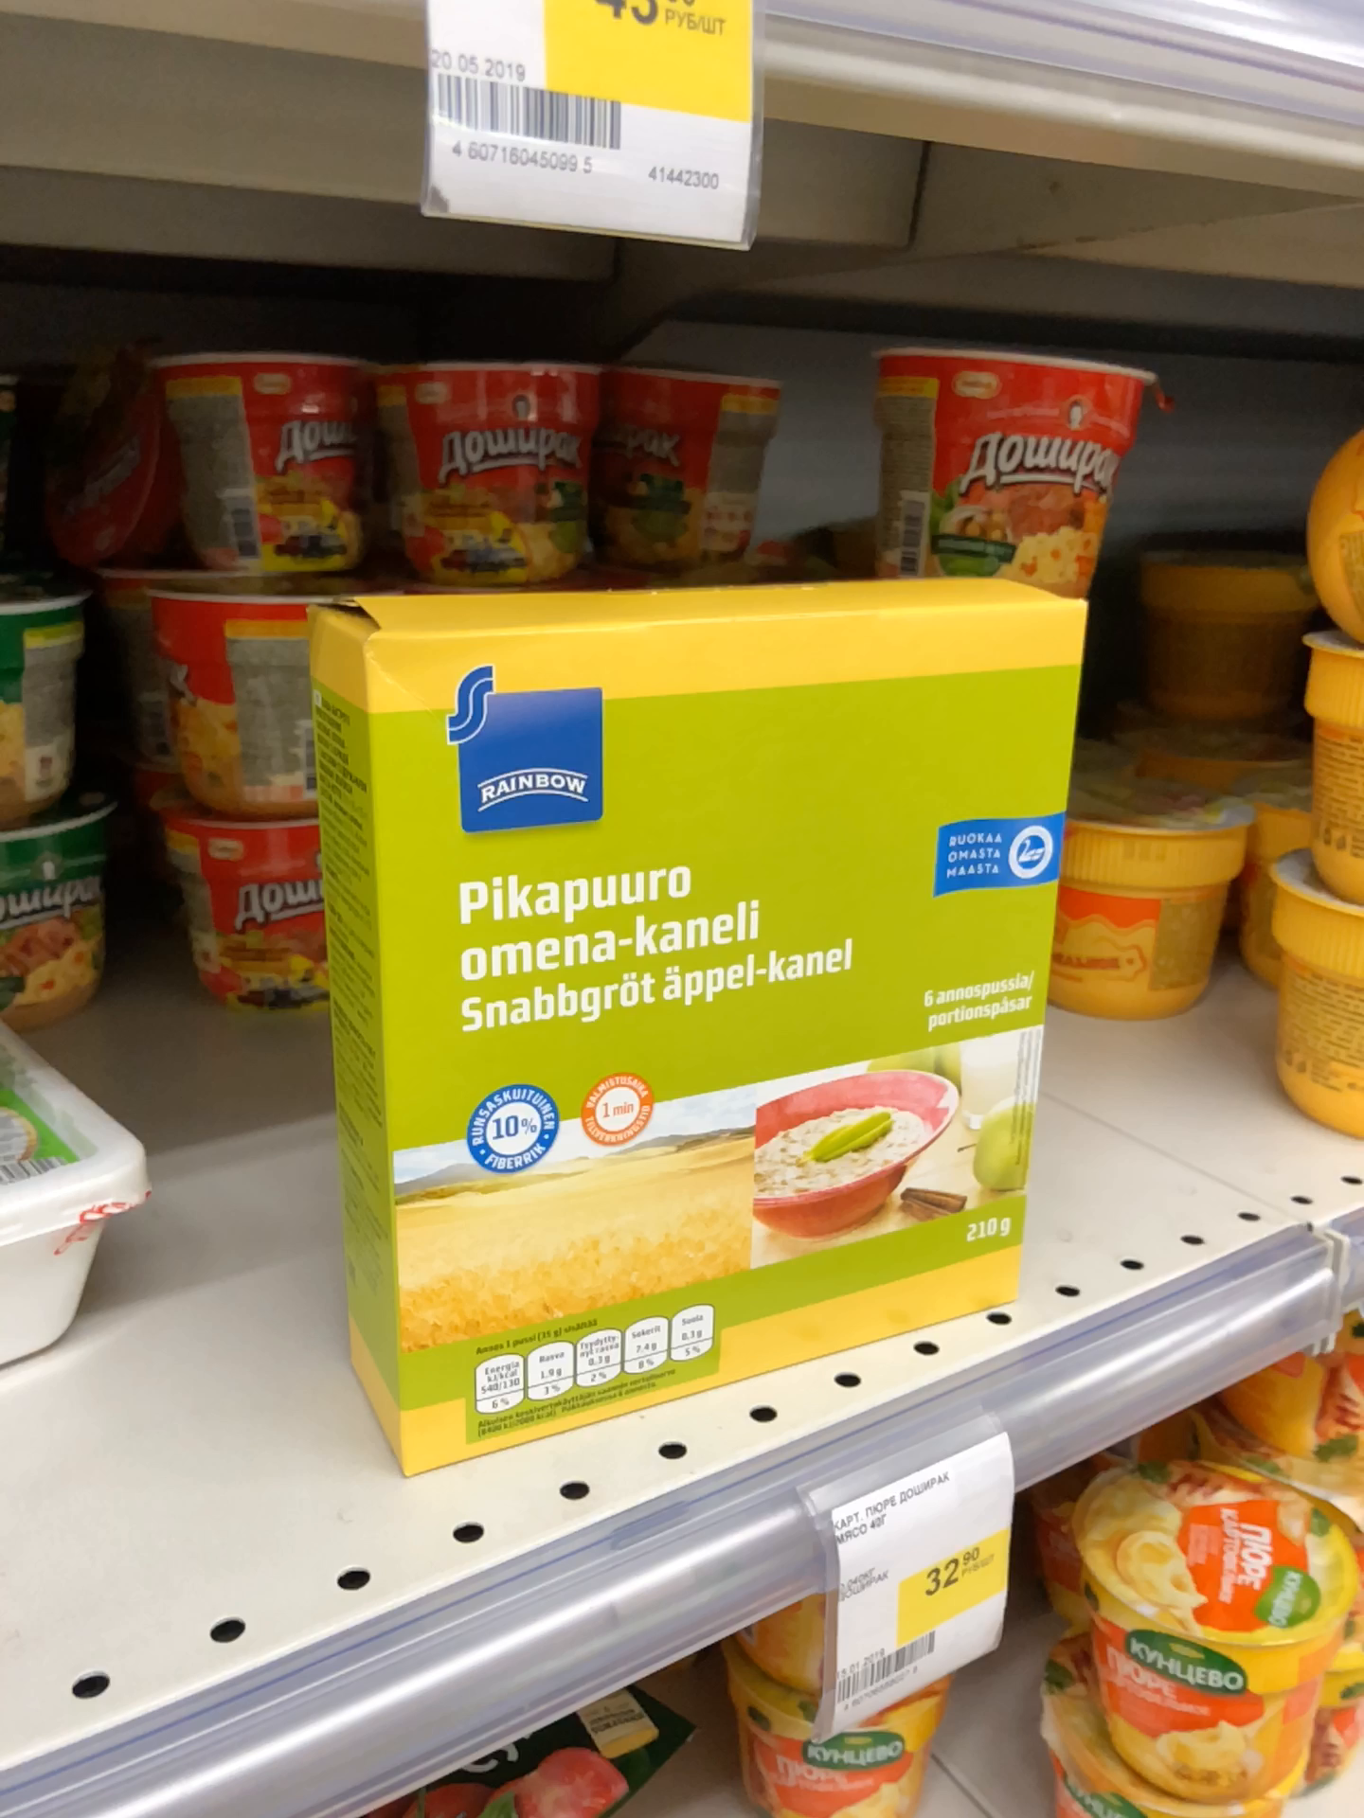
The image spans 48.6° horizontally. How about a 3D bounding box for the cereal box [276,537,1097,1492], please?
[{"bbox_3d":[0.004,0.015,0.348,0.170,0.189,0.050,-8,19,-26],"label":"cereal box"}]
